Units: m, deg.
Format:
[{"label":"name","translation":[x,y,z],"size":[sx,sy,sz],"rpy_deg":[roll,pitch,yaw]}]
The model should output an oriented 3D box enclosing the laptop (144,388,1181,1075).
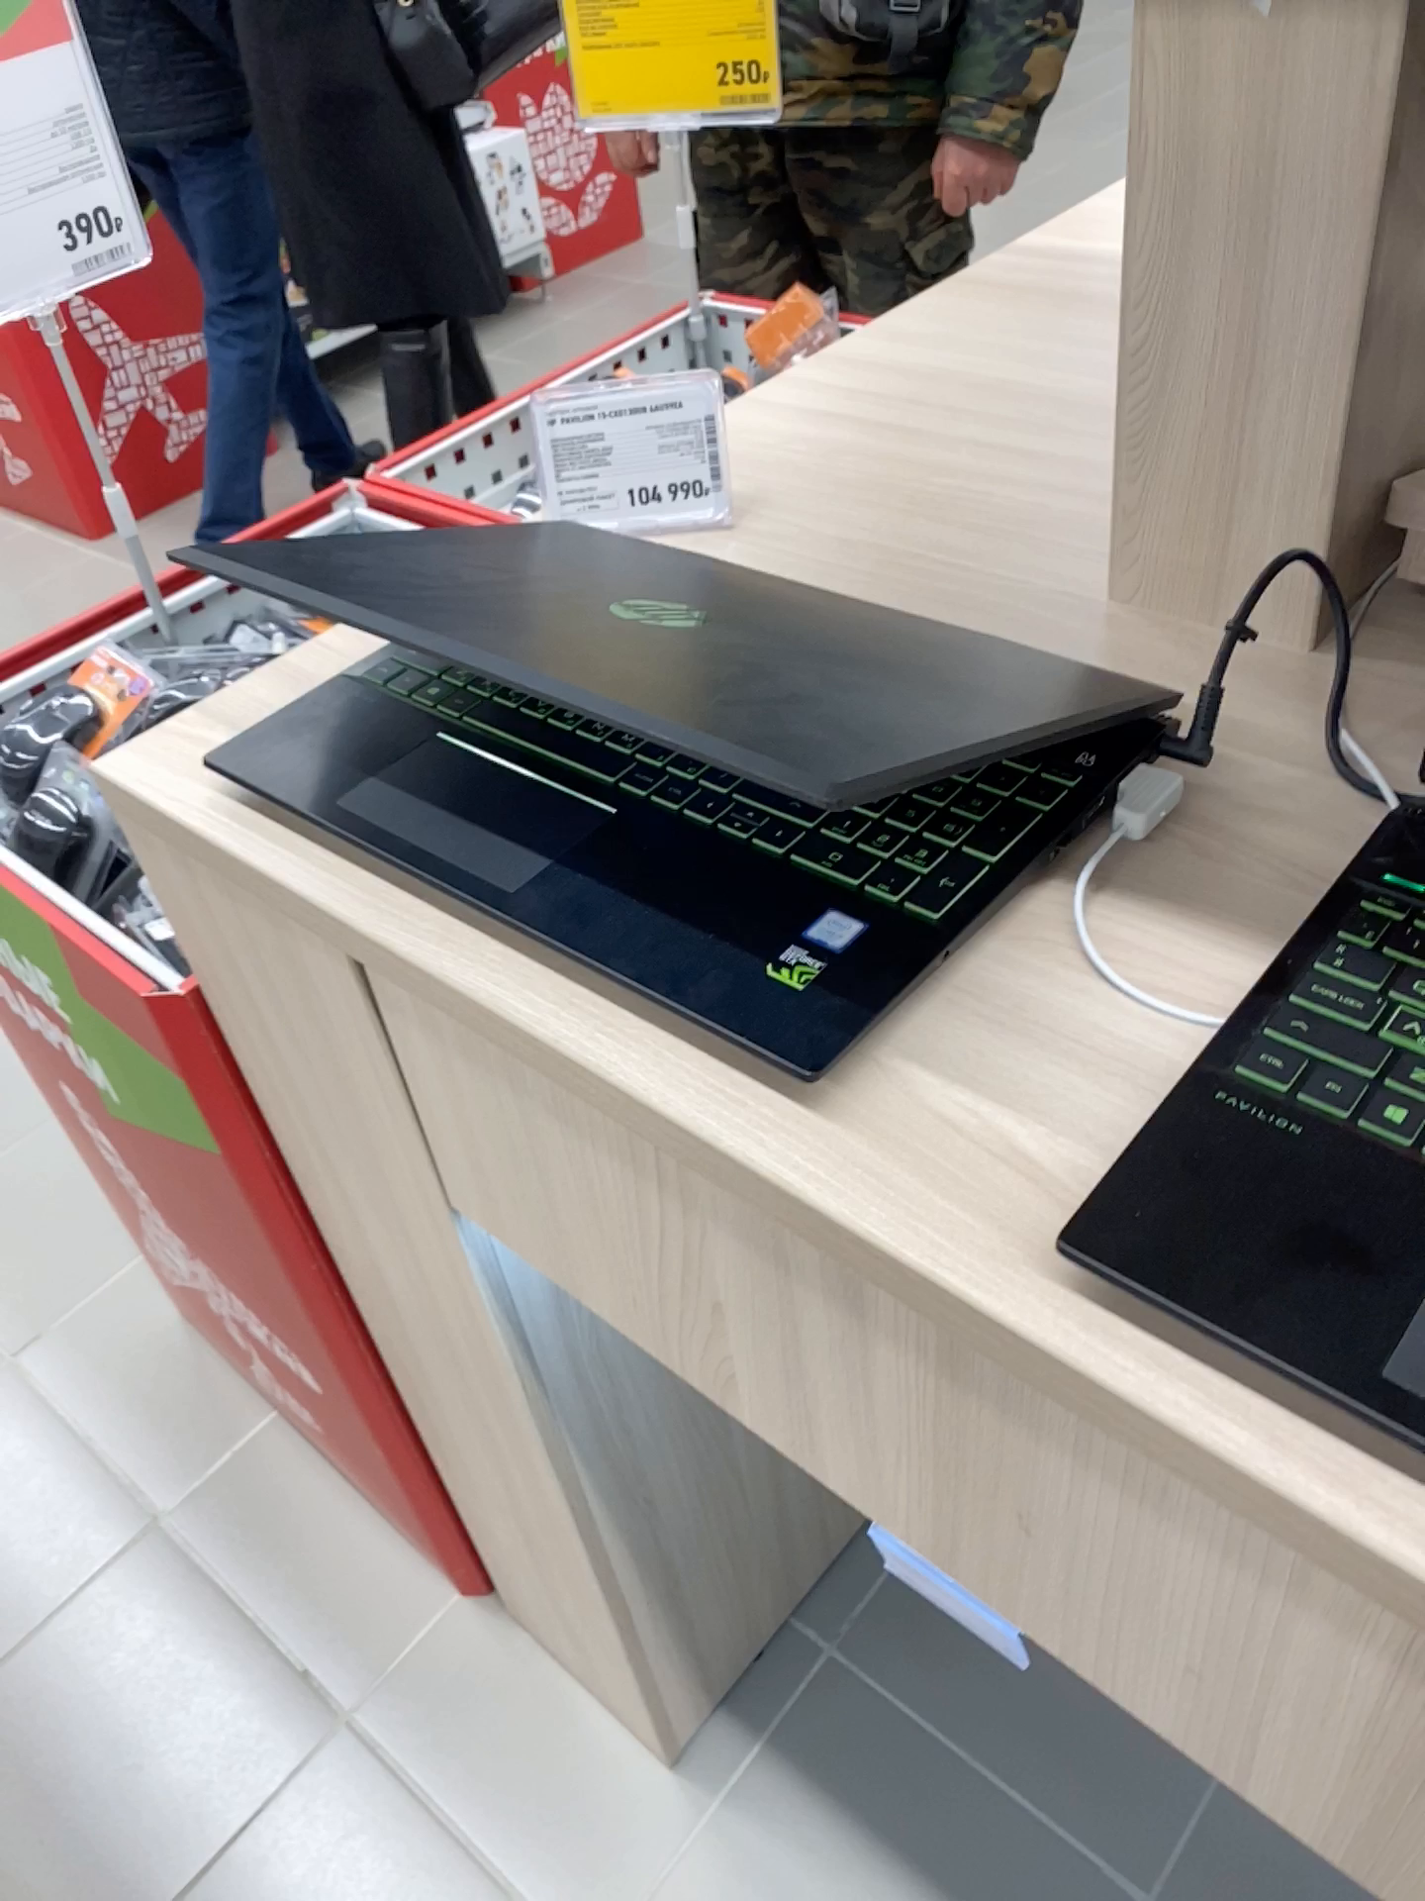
[{"label":"laptop","translation":[-0.031,-0.126,0.621],"size":[0.367,0.086,0.241],"rpy_deg":[26,53,35]}]
